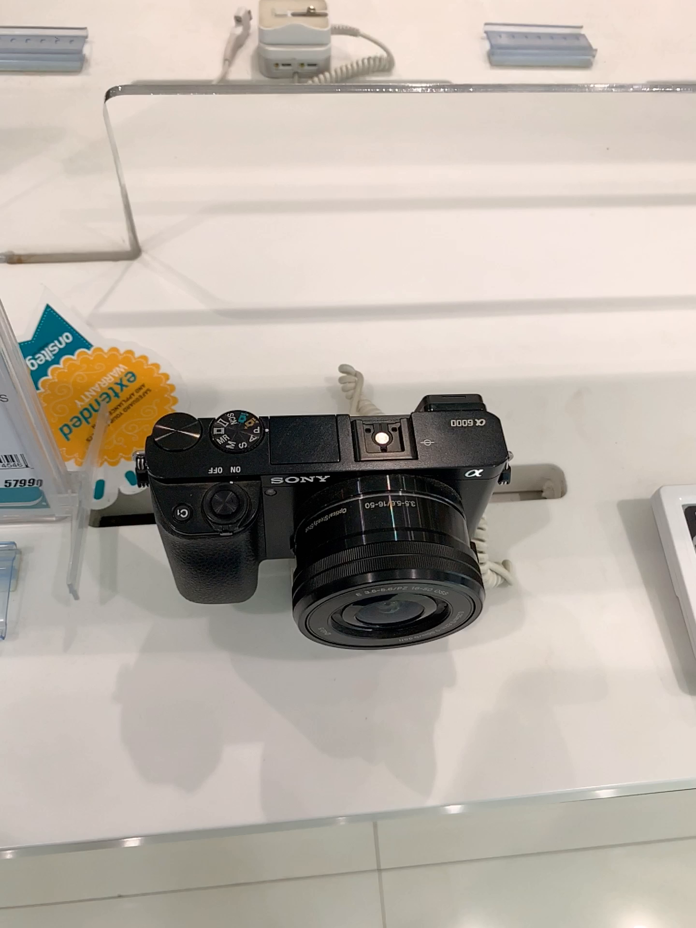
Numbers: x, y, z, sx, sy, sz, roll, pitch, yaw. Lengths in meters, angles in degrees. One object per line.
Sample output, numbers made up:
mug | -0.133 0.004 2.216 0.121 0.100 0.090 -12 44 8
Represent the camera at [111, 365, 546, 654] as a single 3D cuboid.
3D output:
camera | -0.007 0.015 0.214 0.104 0.063 0.058 -2 59 -5
